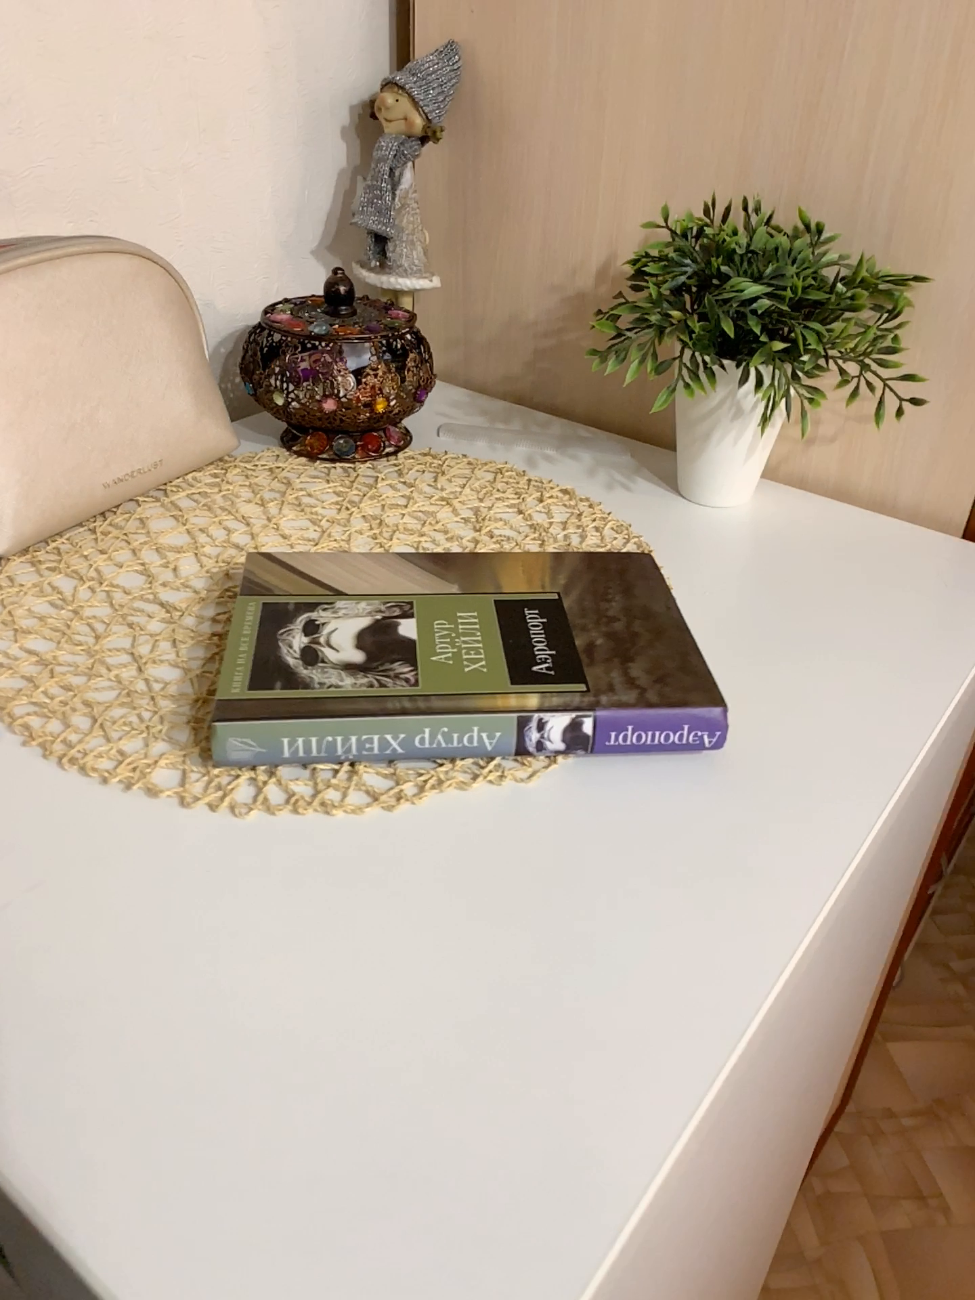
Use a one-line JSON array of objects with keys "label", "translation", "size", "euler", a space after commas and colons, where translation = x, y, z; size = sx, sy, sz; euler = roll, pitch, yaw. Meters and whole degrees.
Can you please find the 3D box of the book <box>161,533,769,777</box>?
[{"label": "book", "translation": [-0.013, -0.006, 0.444], "size": [0.230, 0.020, 0.151], "euler": [-2, 34, -6]}]
